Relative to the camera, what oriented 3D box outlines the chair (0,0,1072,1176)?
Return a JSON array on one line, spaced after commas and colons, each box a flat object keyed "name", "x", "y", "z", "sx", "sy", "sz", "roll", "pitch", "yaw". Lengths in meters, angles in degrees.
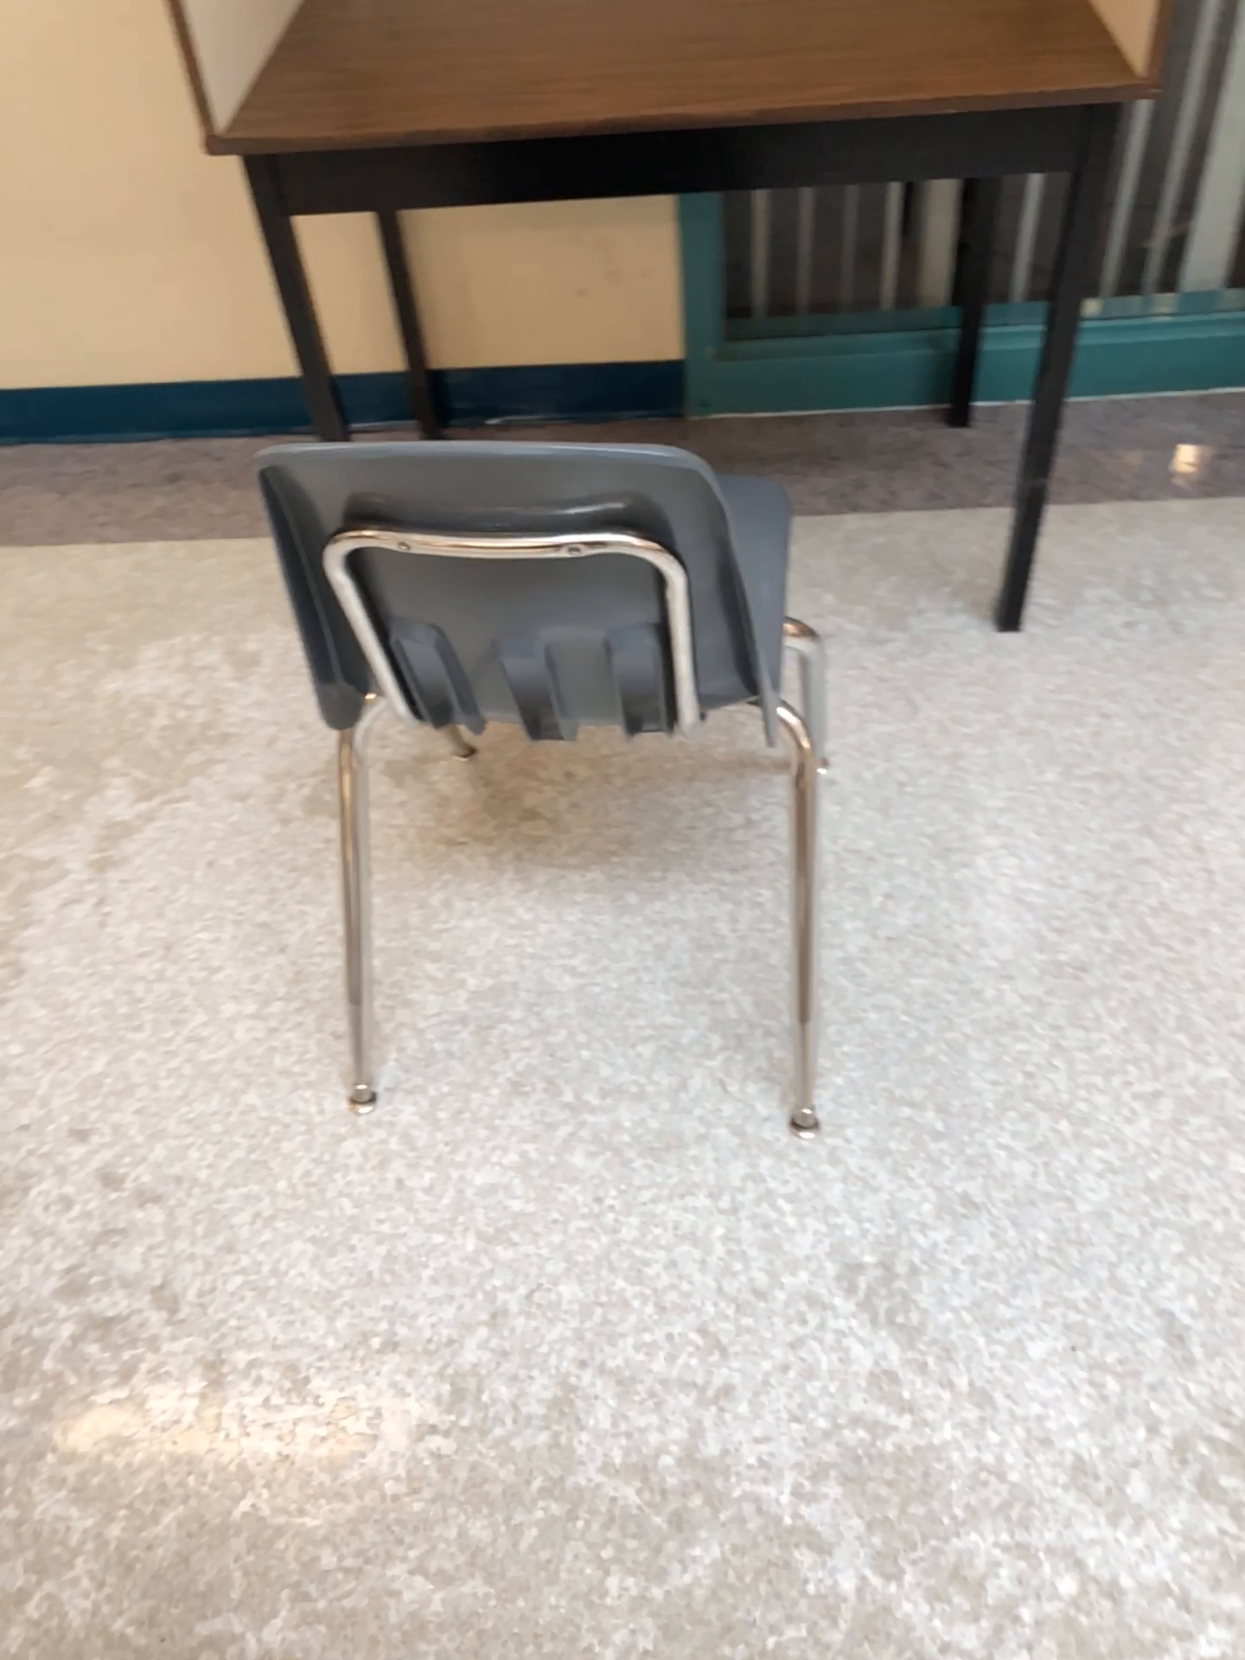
[{"name": "chair", "x": -0.024, "y": -0.190, "z": 1.118, "sx": 0.590, "sy": 0.695, "sz": 0.614, "roll": 3, "pitch": 47, "yaw": 8}]
